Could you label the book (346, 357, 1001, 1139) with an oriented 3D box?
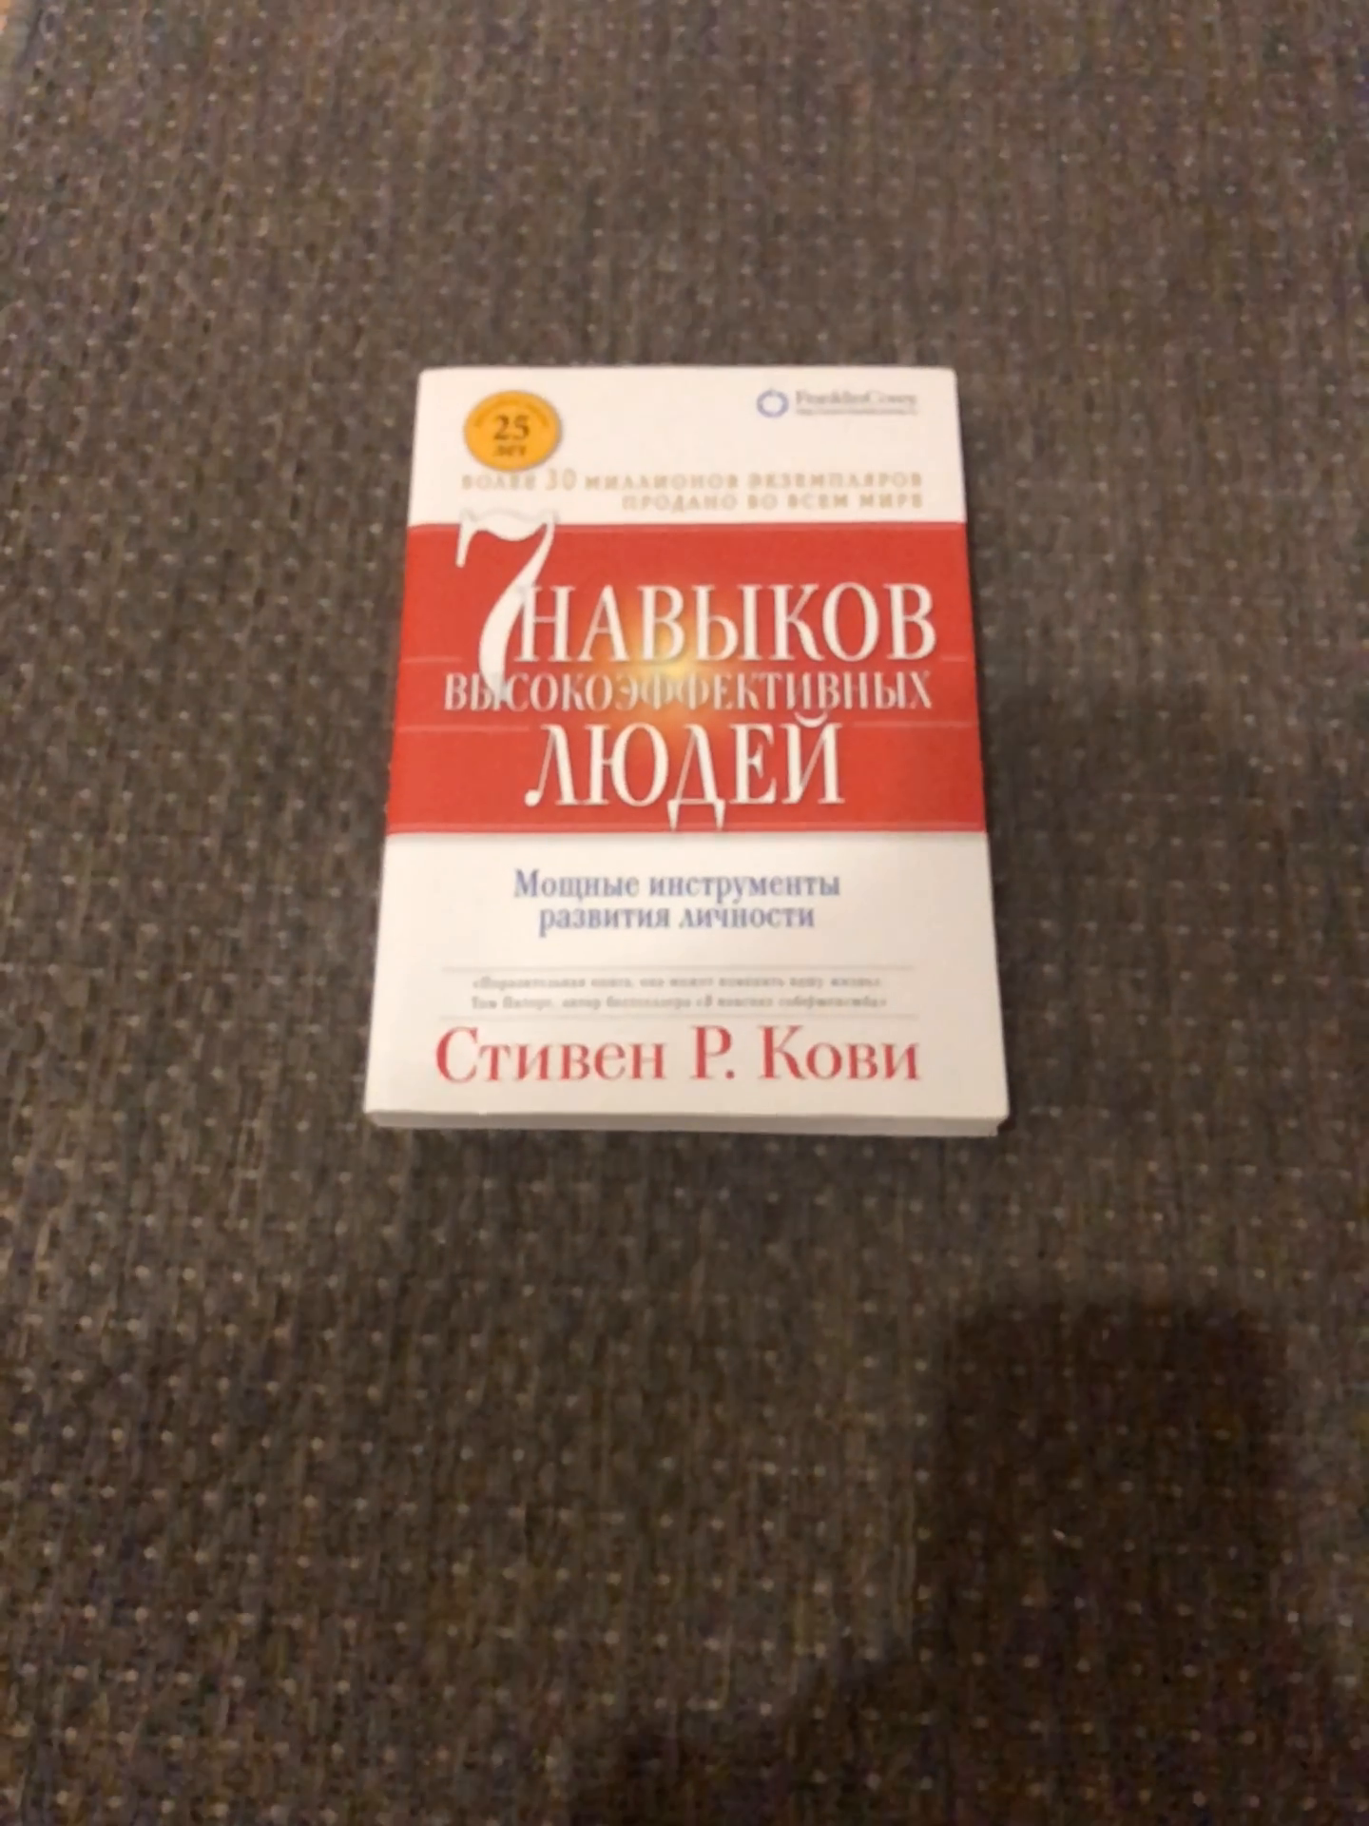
[{"bbox_3d":[-0.001,-0.056,0.437,0.166,0.020,0.236,1,70,2],"label":"book"}]
